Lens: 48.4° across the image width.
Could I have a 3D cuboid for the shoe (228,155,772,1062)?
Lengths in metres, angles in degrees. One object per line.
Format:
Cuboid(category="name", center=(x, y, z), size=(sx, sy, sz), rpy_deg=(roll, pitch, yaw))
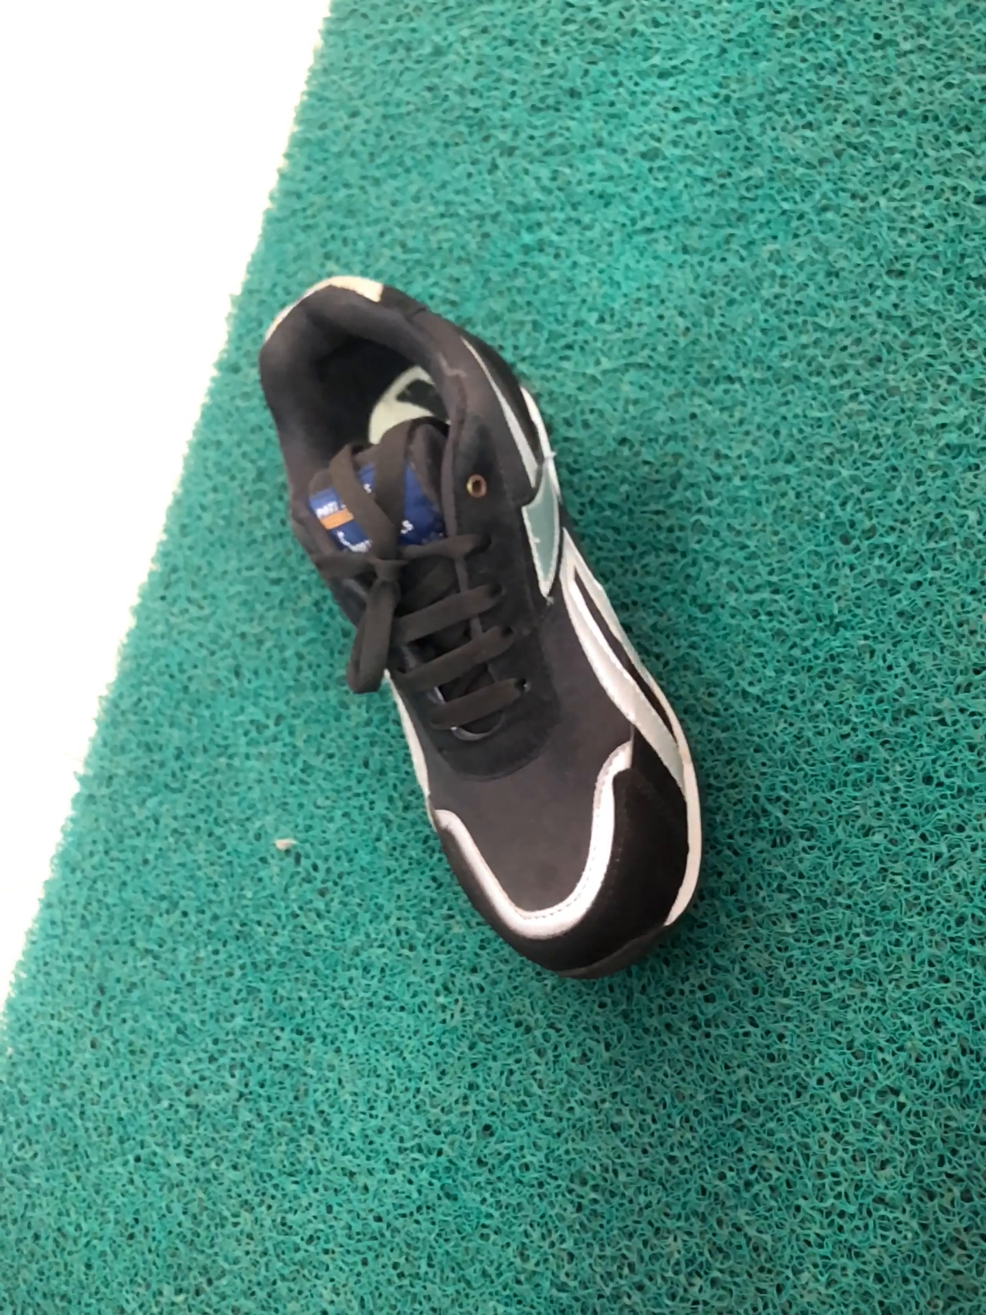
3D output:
Cuboid(category="shoe", center=(-0.002, -0.017, 0.410), size=(0.100, 0.110, 0.290), rpy_deg=(-22, 70, 24))
